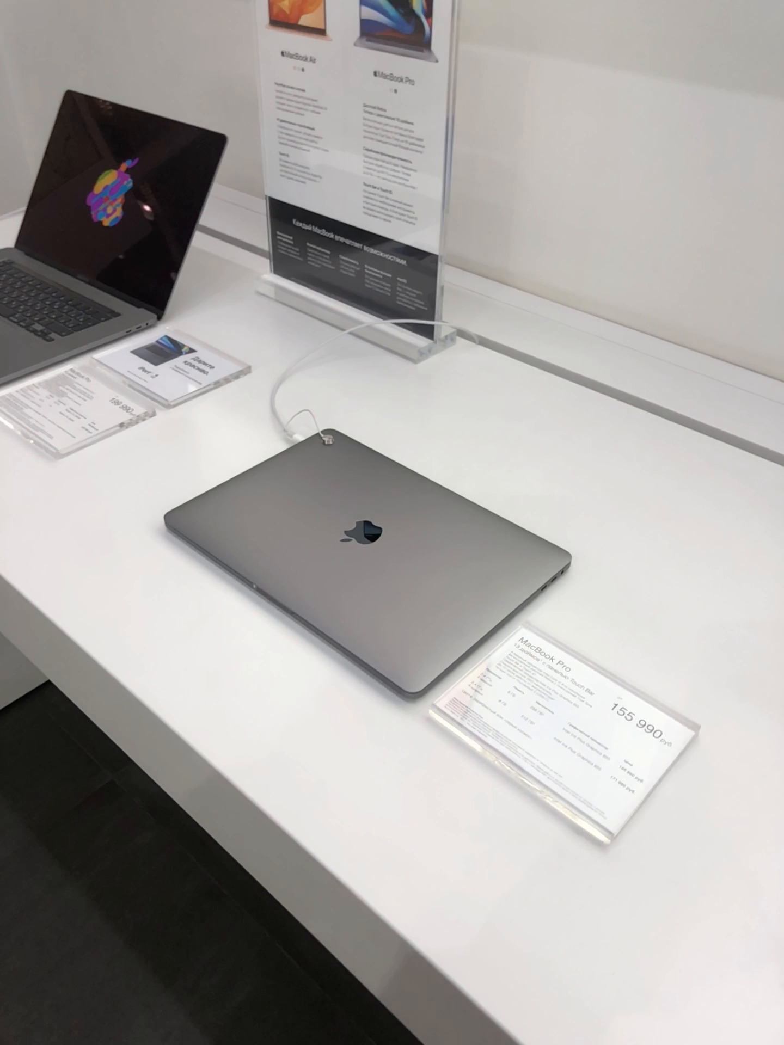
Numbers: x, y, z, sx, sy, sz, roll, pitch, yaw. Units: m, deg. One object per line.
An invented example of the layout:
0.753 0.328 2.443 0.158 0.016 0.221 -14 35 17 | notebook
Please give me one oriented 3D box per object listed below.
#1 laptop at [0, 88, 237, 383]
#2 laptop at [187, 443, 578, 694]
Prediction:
-0.465 -0.391 1.097 0.349 0.190 0.380 29 46 31 | laptop
-0.013 0.020 0.748 0.280 0.001 0.202 29 46 34 | laptop
